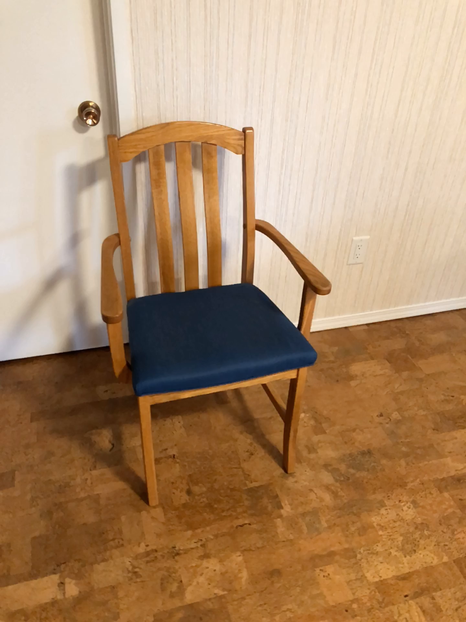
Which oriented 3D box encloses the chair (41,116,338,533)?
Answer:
[{"bbox_3d":[-0.164,0.021,1.455,0.550,0.936,0.592,-9,37,-17],"label":"chair"}]
